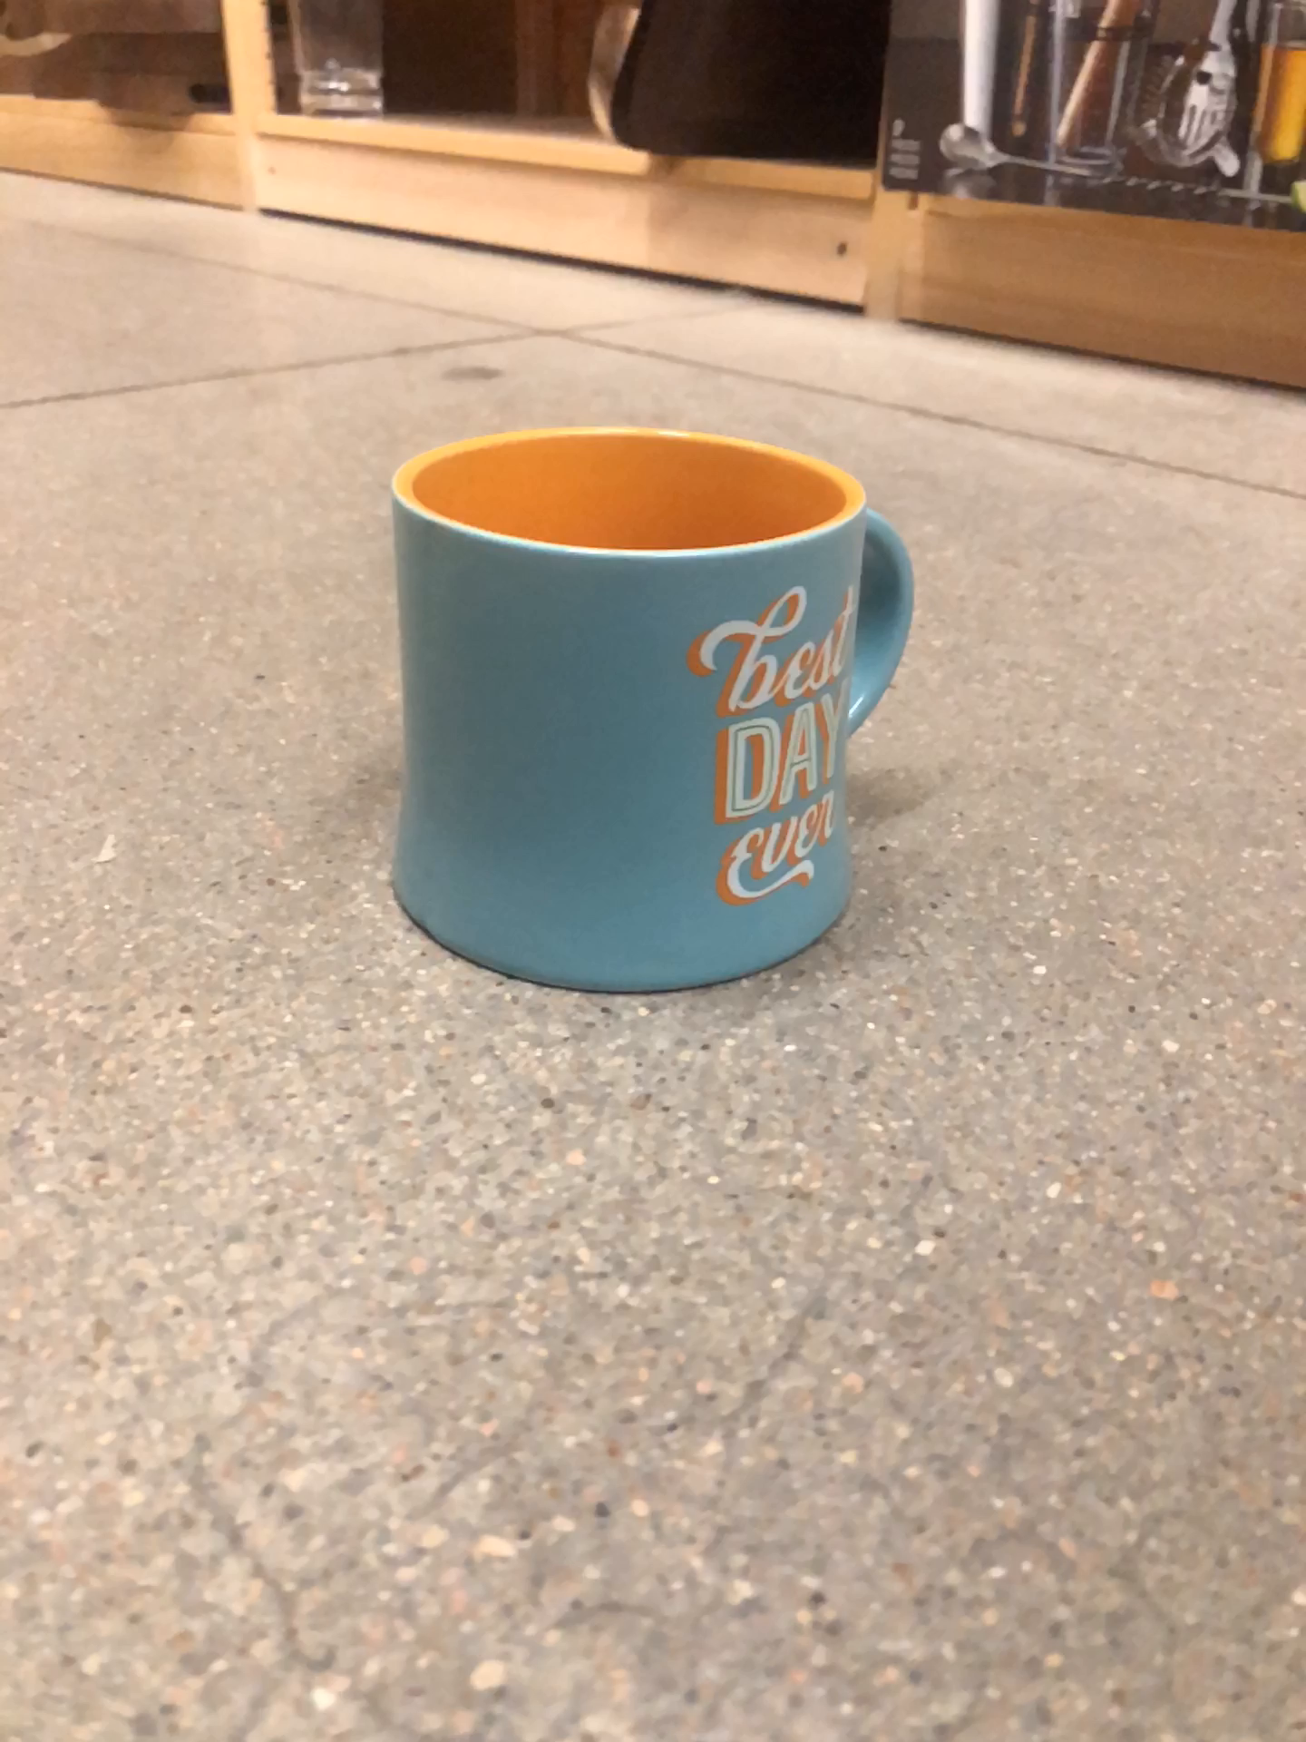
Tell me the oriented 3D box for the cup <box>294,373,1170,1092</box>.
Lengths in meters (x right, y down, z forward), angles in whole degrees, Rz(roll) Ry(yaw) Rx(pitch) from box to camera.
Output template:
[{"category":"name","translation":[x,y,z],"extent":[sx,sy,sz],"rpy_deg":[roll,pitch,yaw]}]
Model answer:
[{"category":"cup","translation":[0.015,-0.043,0.318],"extent":[0.143,0.097,0.107],"rpy_deg":[-19,35,-32]}]
